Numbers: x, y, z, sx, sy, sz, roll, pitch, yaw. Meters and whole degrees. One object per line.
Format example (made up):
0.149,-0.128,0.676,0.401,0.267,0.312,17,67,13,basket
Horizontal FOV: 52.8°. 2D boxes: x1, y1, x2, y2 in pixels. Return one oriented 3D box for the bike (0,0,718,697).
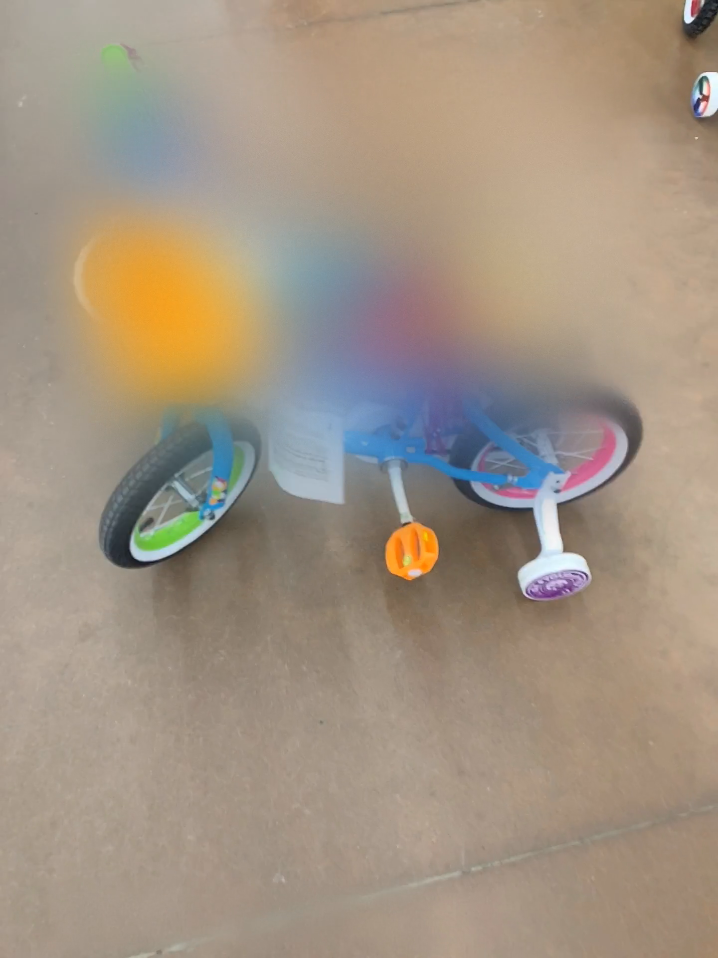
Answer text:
0.012,-0.174,0.983,0.816,0.664,0.554,-12,54,-9,bike
